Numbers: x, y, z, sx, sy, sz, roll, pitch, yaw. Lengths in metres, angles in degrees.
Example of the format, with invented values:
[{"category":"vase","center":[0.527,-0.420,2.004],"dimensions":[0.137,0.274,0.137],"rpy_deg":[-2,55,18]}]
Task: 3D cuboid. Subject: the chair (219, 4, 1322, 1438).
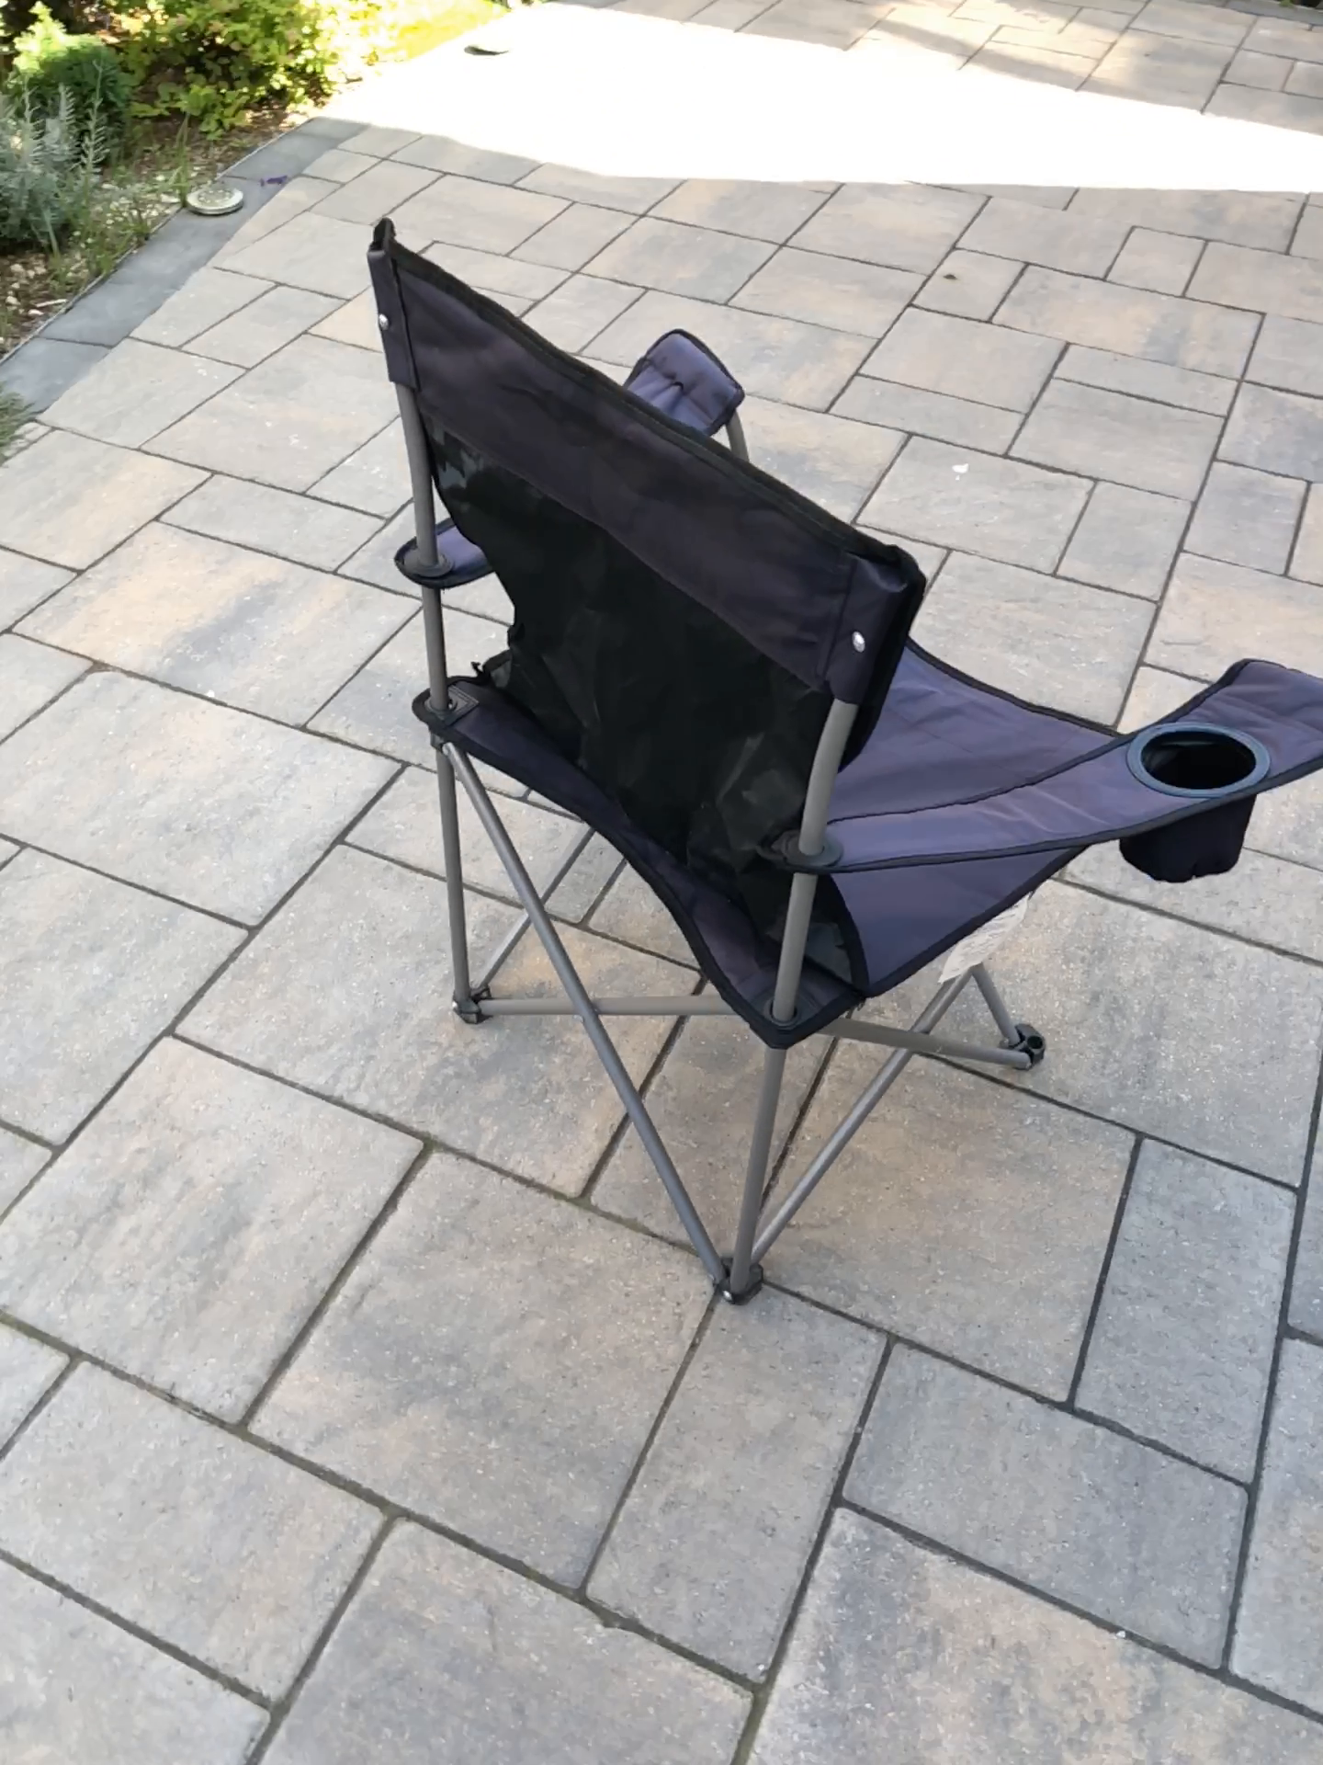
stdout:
[{"category":"chair","center":[0.127,-0.148,1.227],"dimensions":[0.571,0.817,0.691],"rpy_deg":[-31,55,-30]}]
